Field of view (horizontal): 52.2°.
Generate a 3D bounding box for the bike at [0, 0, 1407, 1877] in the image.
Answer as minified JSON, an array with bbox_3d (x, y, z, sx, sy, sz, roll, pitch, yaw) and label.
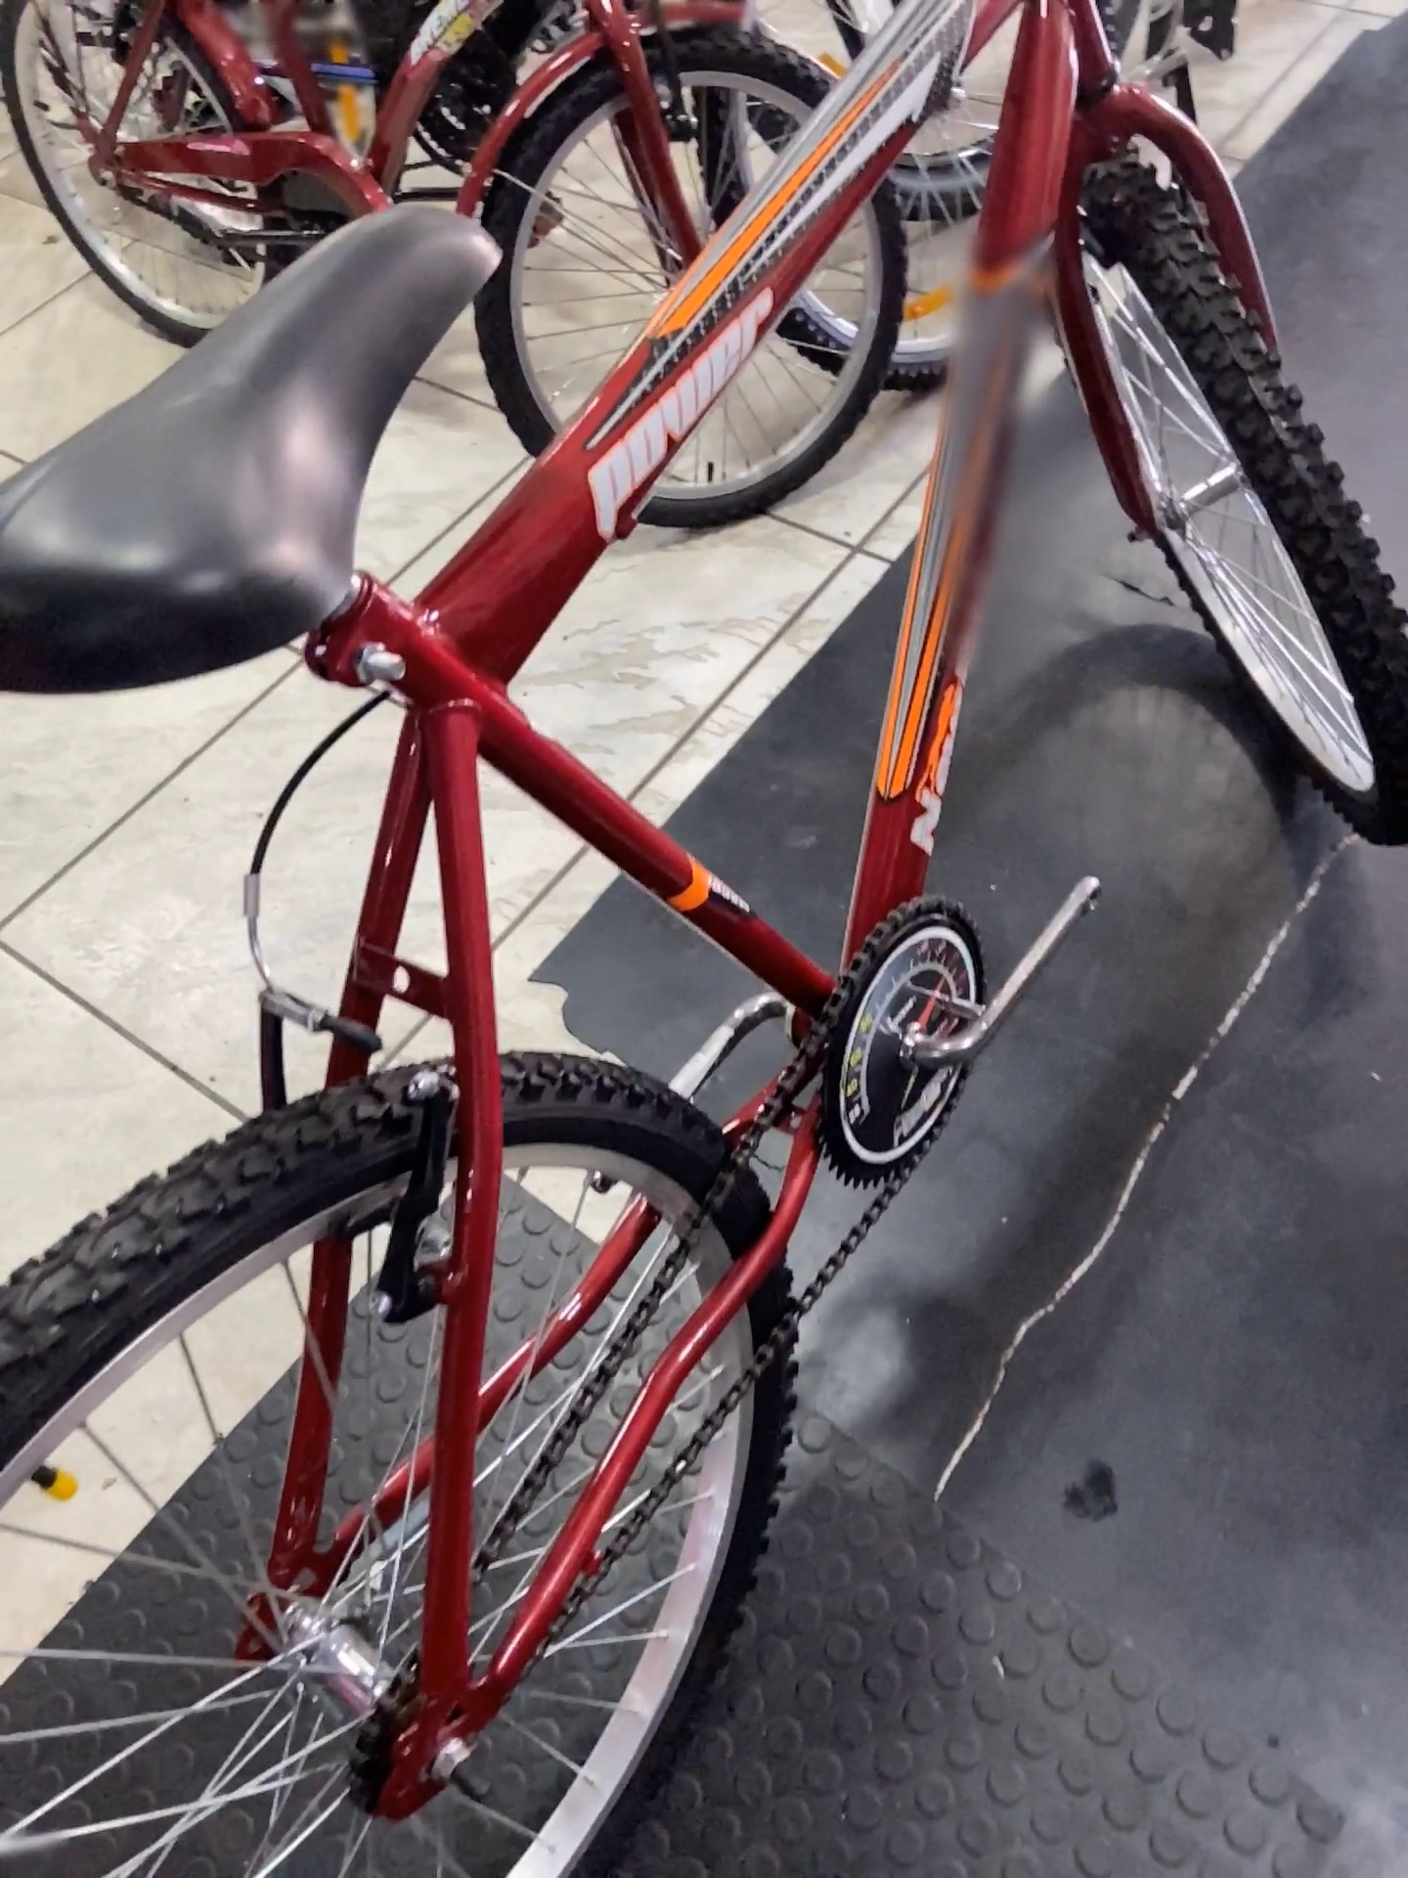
[{"bbox_3d":[-0.079,-0.175,0.751,0.566,1.030,1.587,18,62,21],"label":"bike"}]
